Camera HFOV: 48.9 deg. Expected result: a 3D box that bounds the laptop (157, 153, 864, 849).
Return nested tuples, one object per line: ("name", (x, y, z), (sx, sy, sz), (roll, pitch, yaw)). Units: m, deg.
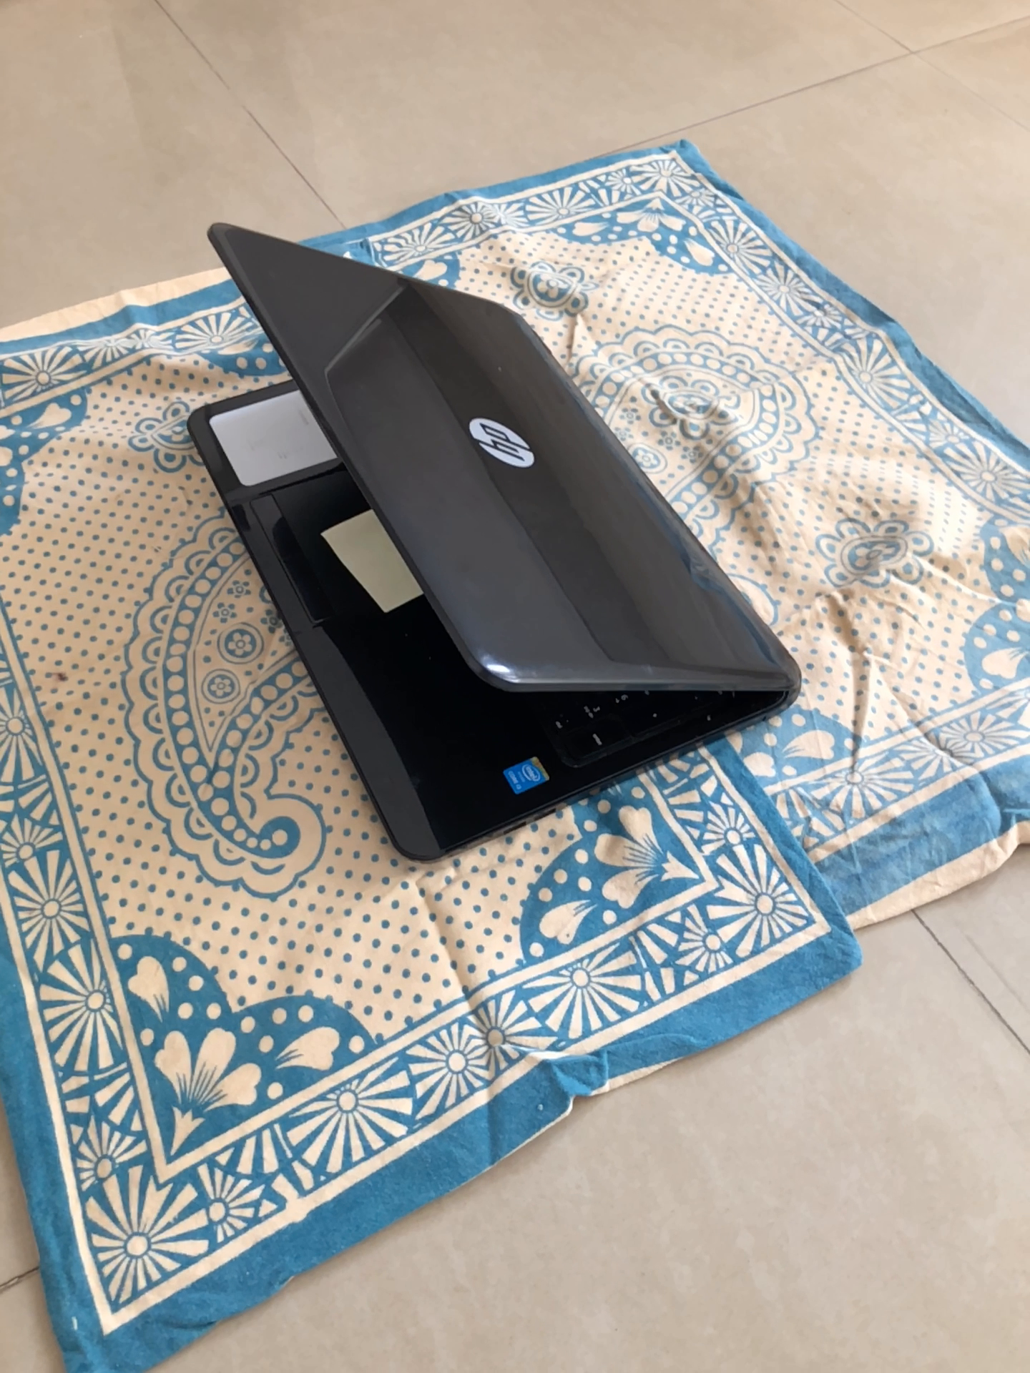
("laptop", (-0.022, -0.130, 0.650), (0.237, 0.151, 0.364), (-20, 56, -18))
